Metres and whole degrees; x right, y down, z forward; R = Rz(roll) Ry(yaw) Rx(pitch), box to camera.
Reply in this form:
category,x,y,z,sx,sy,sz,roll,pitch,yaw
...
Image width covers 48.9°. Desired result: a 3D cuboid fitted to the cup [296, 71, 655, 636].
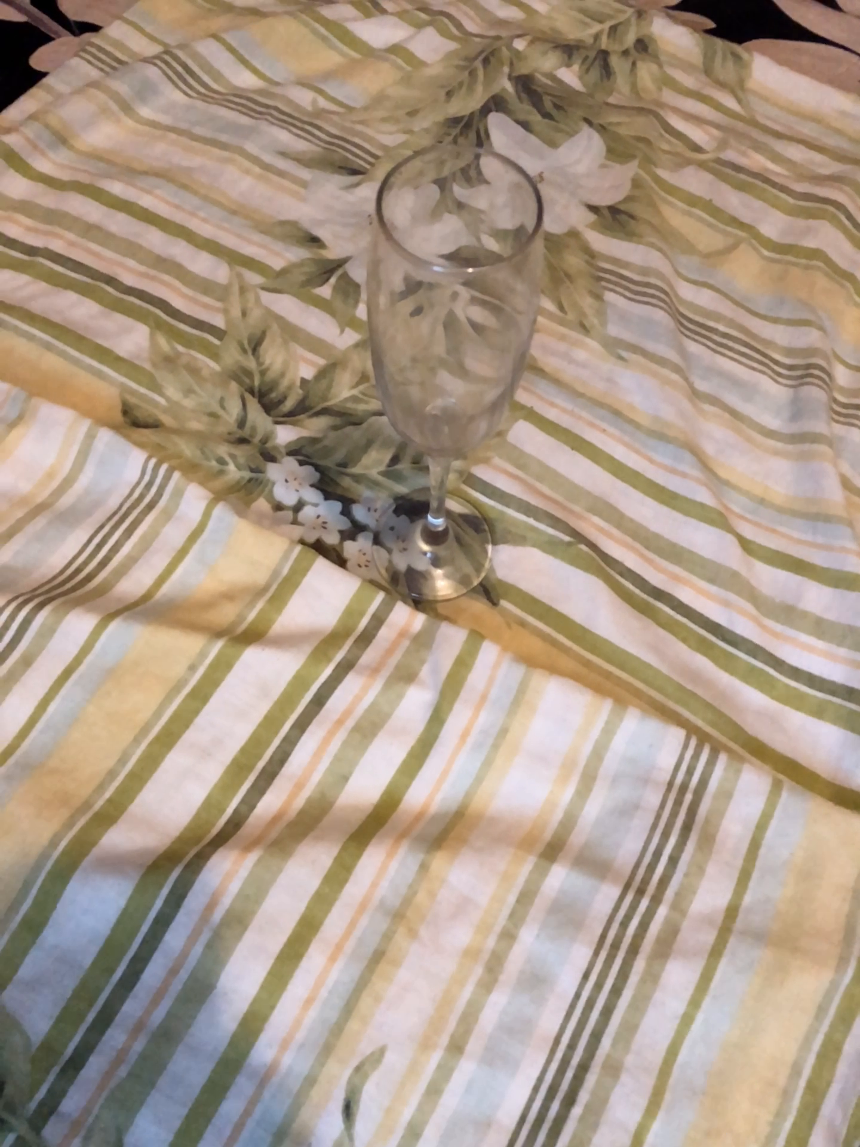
category,x,y,z,sx,sy,sz,roll,pitch,yaw
cup,0.008,-0.067,0.382,0.082,0.218,0.071,-38,72,-20
